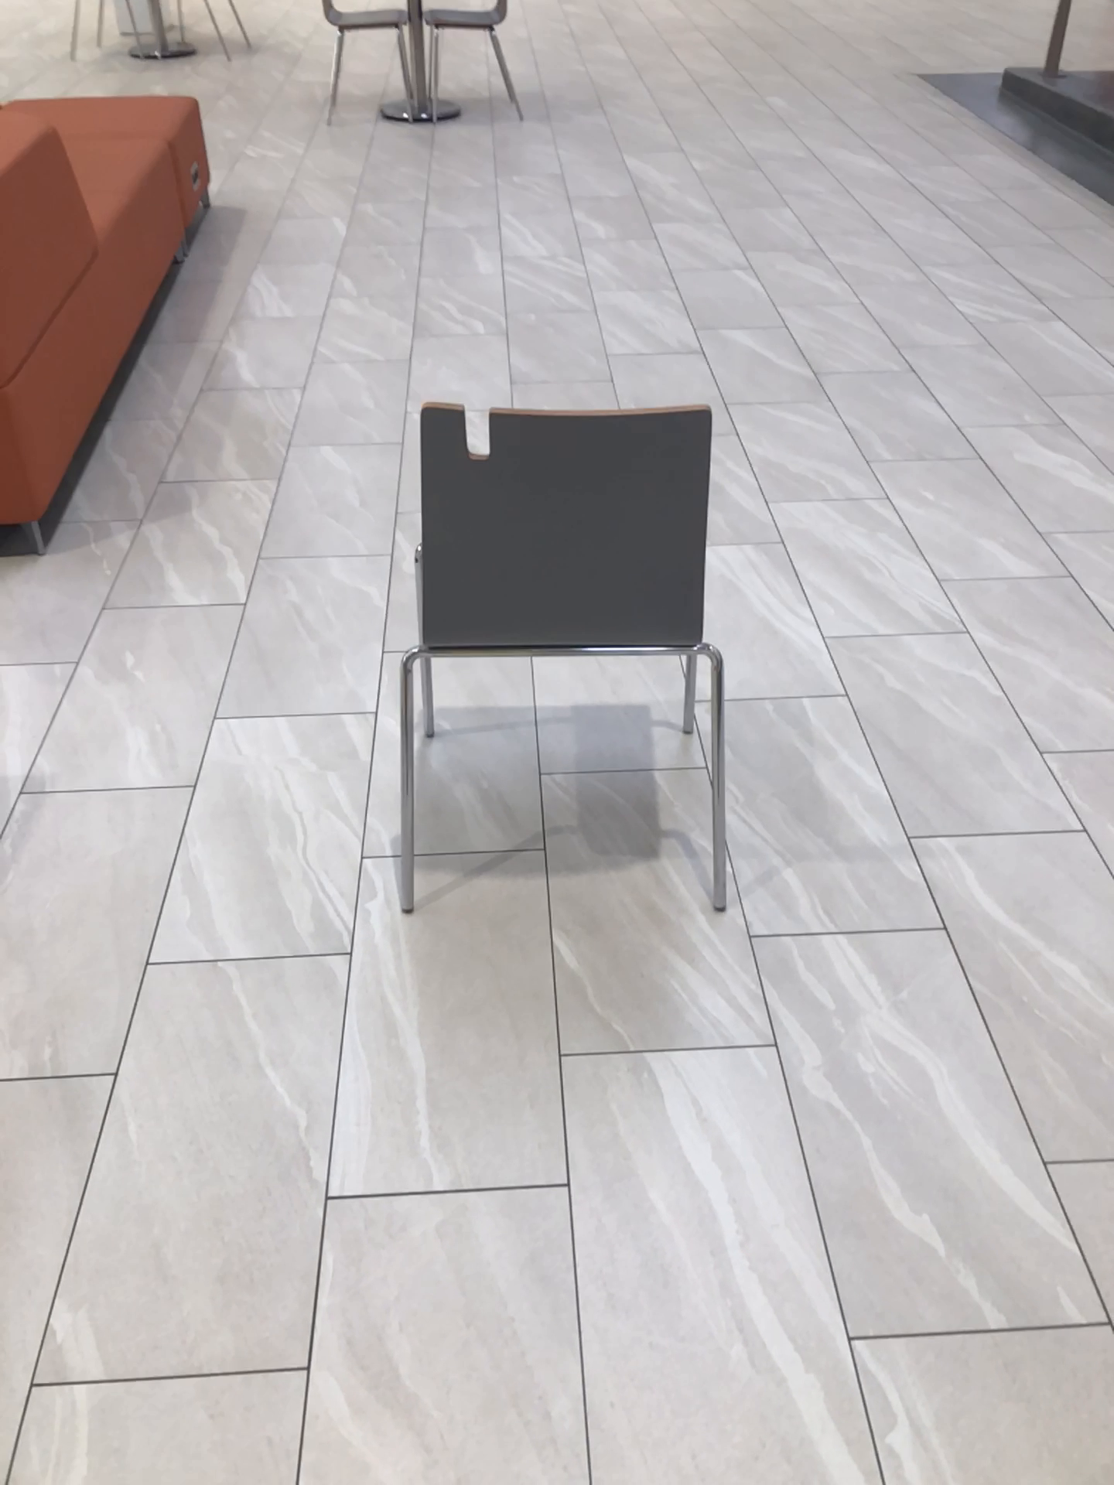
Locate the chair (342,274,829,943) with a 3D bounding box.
[{"bbox_3d":[0.023,-0.186,1.752,0.524,0.787,0.518,-2,37,-2],"label":"chair"}]
